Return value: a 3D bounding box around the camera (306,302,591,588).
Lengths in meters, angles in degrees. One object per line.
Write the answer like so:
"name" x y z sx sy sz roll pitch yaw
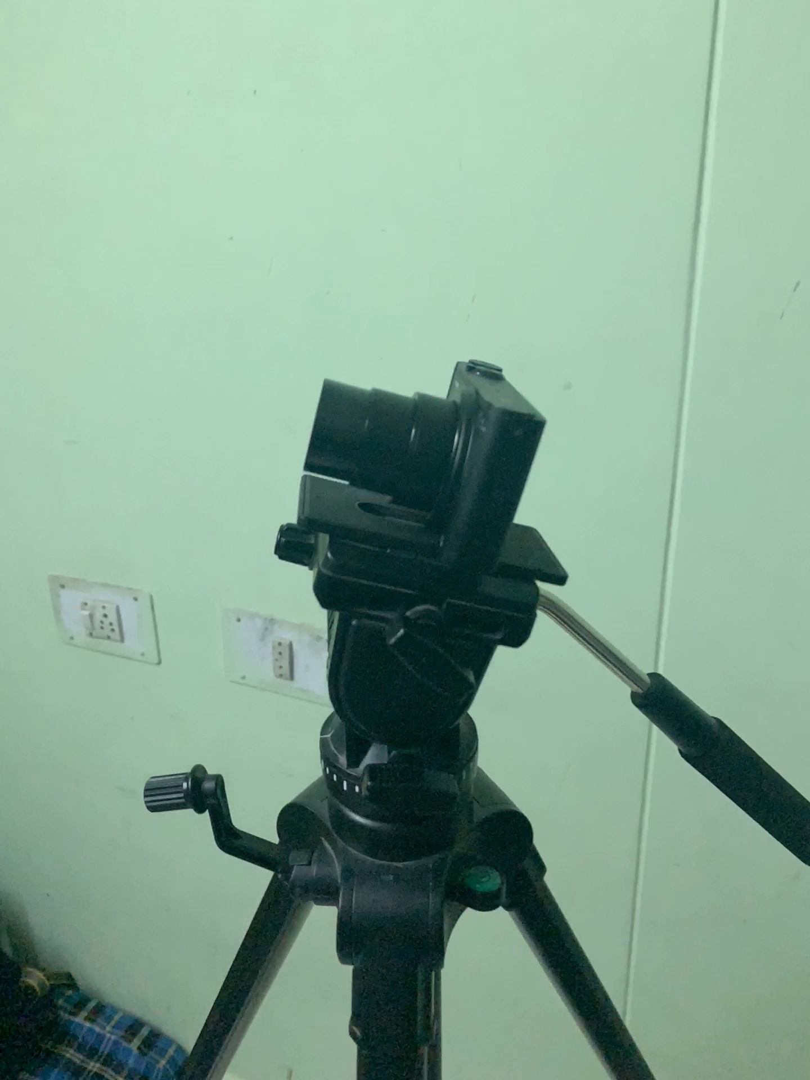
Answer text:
"camera" 0.008 -0.038 0.287 0.067 0.060 0.102 14 19 -10
